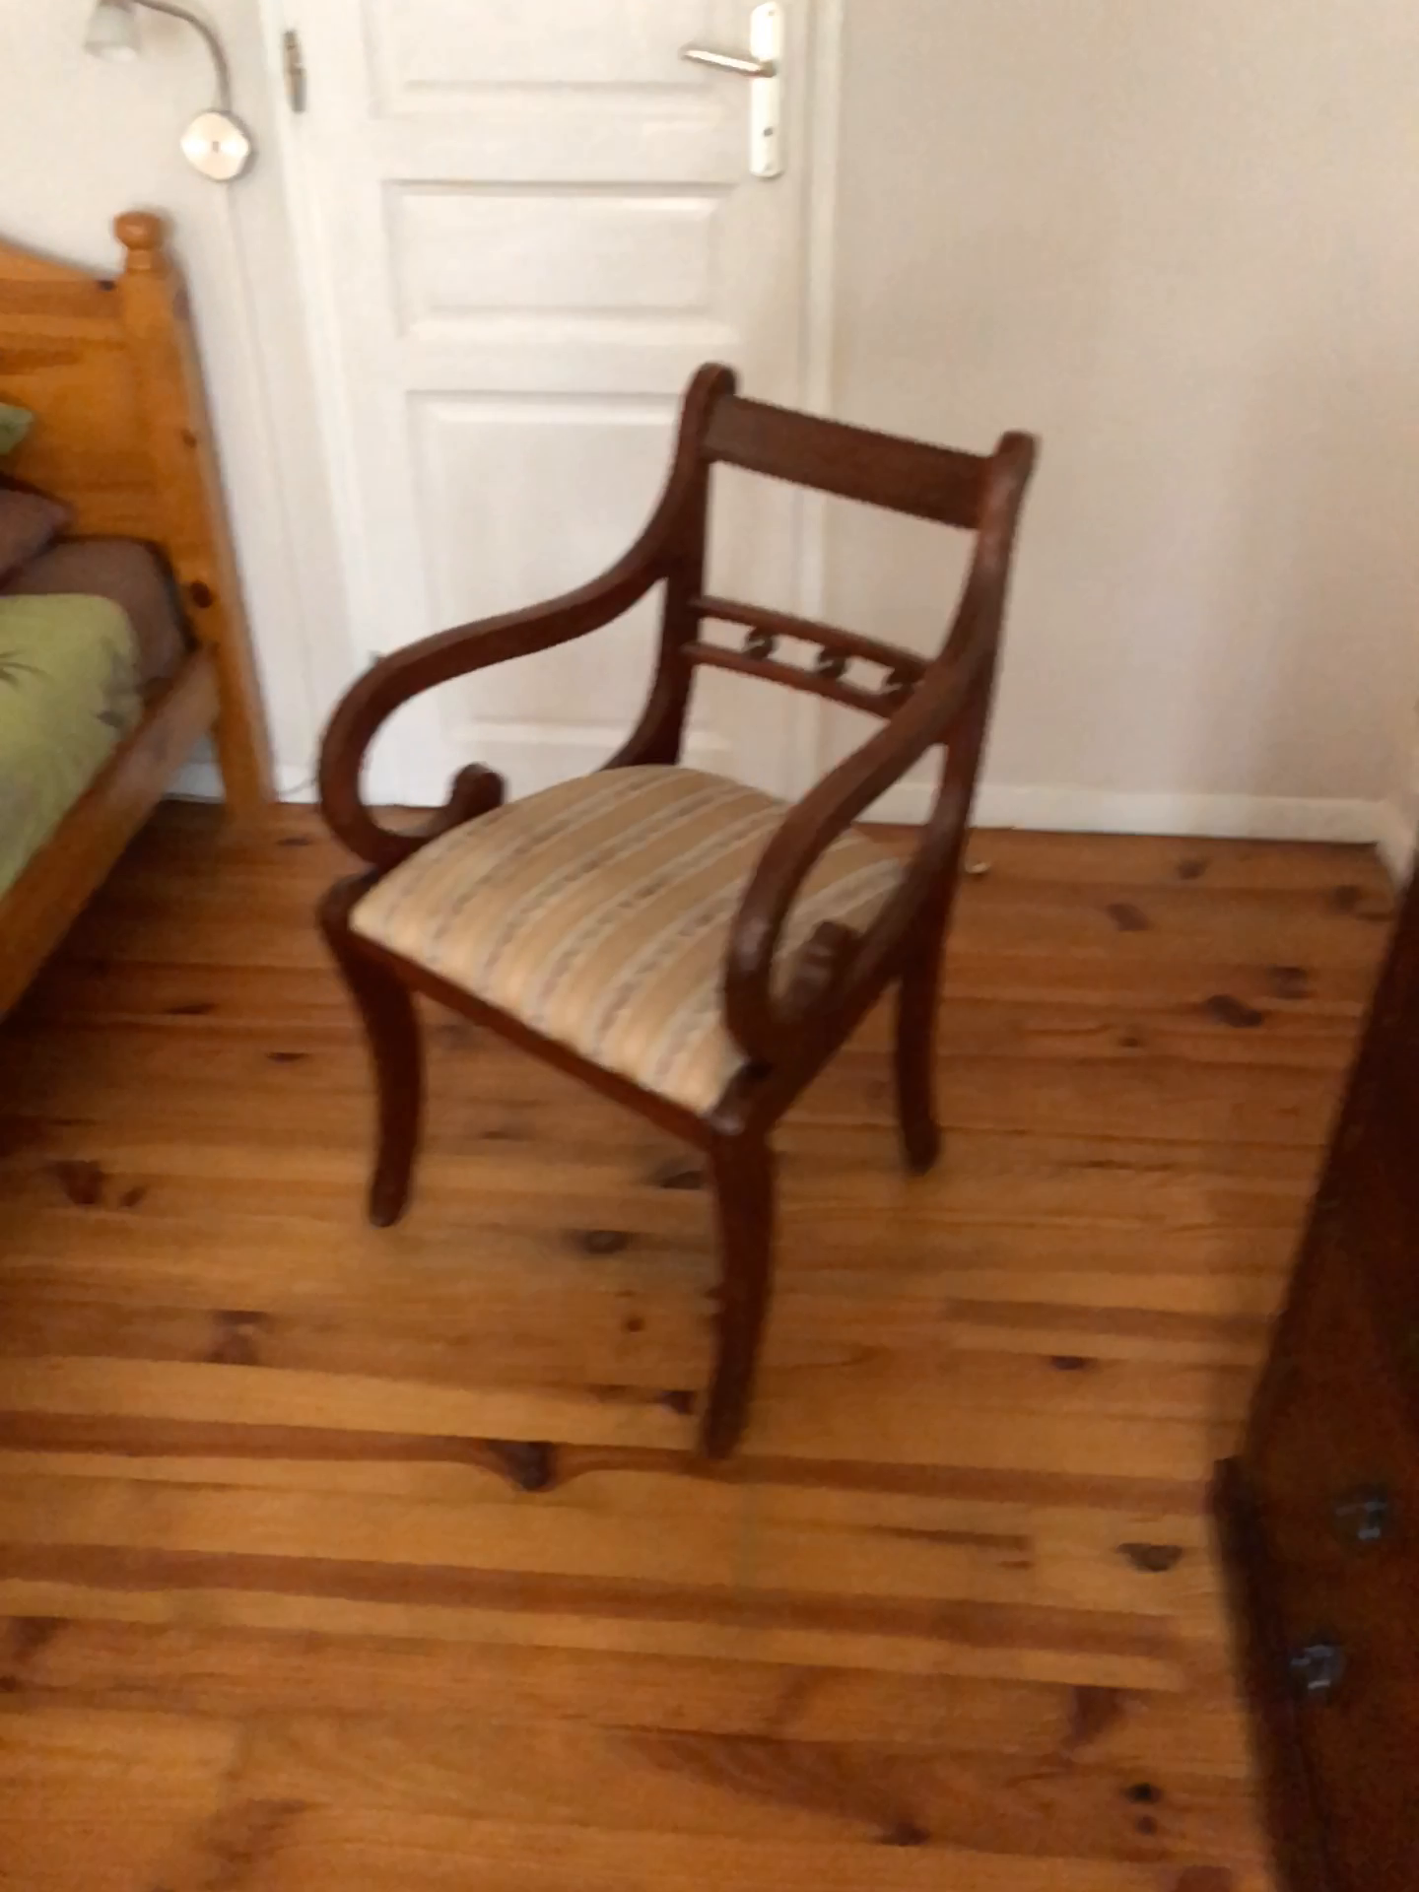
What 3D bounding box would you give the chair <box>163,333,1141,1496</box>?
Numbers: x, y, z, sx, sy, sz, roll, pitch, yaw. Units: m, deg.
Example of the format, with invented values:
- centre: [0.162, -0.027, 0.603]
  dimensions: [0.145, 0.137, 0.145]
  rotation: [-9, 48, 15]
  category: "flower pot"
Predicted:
- centre: [-0.042, -0.071, 1.522]
  dimensions: [0.581, 0.825, 0.573]
  rotation: [26, 42, 33]
  category: "chair"
